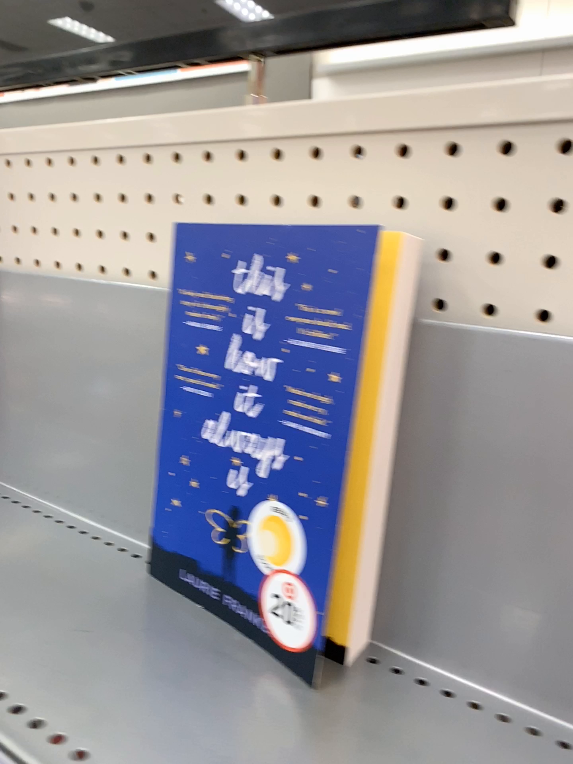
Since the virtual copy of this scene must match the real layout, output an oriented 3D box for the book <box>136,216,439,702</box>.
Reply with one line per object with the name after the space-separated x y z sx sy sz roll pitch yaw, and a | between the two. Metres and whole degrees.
-0.011 0.025 0.311 0.140 0.209 0.044 15 12 40 | book
